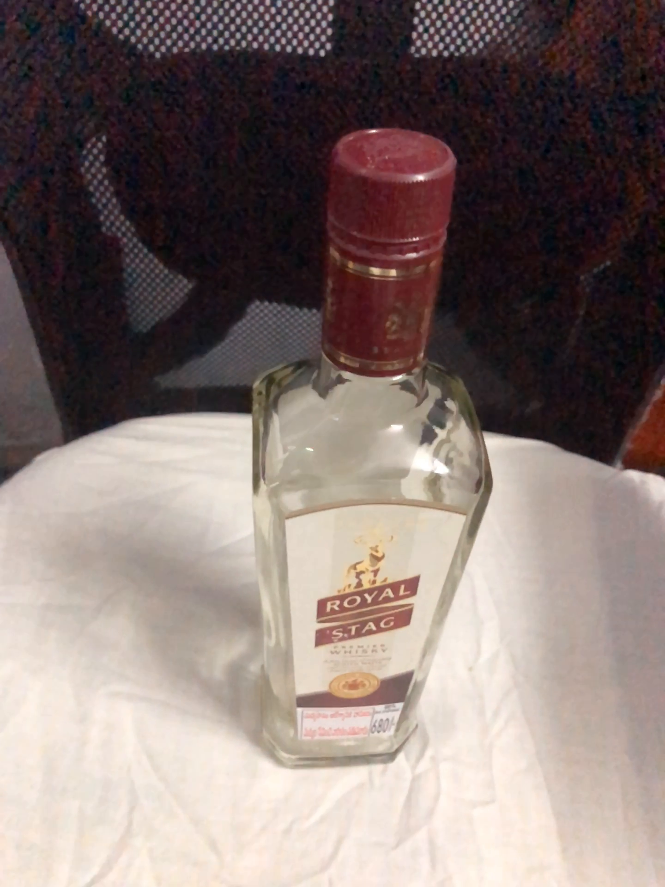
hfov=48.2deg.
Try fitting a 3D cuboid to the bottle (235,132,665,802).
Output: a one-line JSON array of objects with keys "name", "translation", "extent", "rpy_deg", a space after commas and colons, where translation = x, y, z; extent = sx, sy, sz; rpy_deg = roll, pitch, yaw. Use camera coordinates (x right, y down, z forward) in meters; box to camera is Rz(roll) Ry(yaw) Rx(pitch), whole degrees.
[{"name": "bottle", "translation": [0.013, 0.044, 0.264], "extent": [0.090, 0.279, 0.060], "rpy_deg": [1, 45, -5]}]
